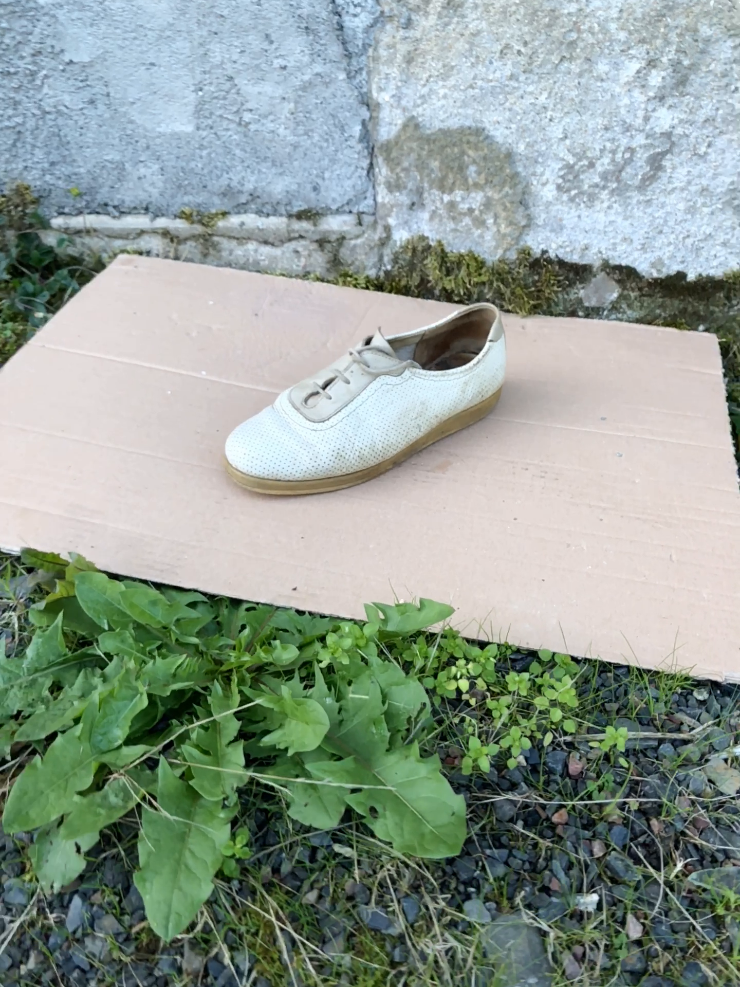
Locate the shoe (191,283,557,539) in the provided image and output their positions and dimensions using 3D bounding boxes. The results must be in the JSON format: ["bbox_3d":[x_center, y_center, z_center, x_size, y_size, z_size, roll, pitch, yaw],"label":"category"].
[{"bbox_3d":[0.009,-0.071,0.630,0.261,0.089,0.090,-22,41,-20],"label":"shoe"}]
